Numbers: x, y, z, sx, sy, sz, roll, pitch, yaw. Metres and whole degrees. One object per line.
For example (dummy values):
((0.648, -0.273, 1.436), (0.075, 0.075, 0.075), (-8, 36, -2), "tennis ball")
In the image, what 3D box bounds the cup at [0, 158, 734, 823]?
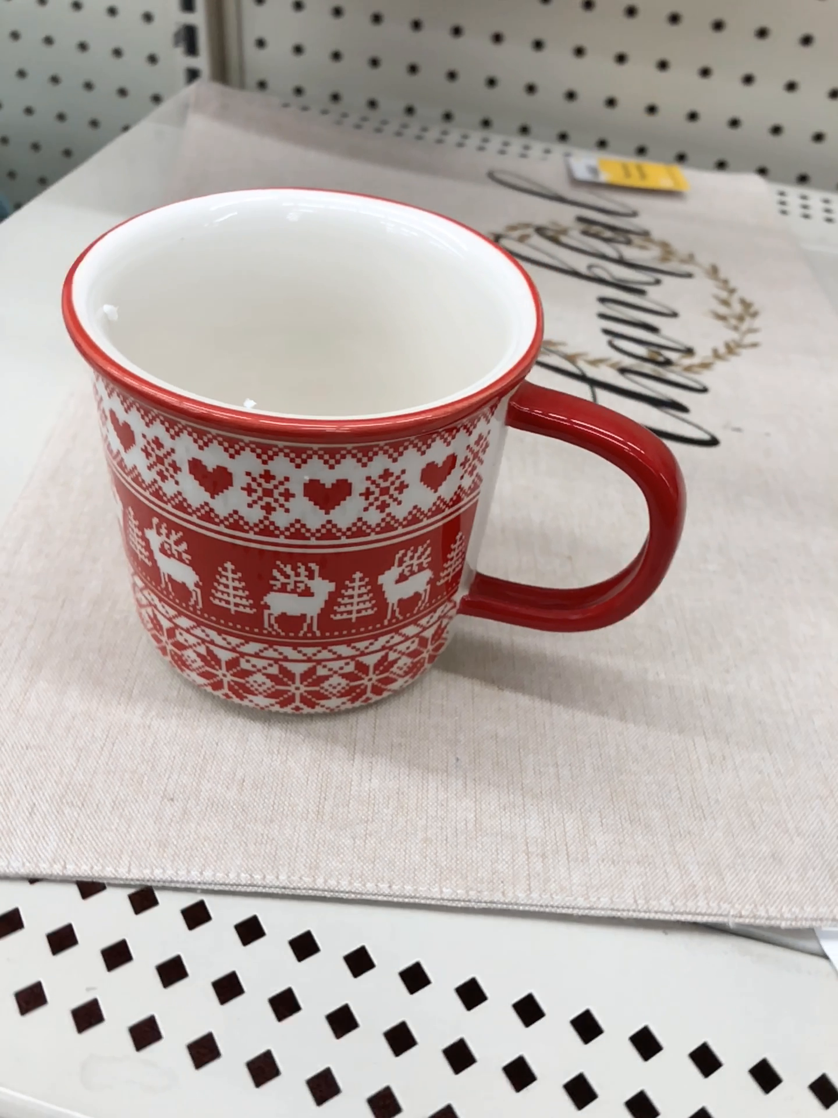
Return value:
((-0.011, -0.021, 0.241), (0.150, 0.100, 0.100), (13, 44, 7), "cup")
